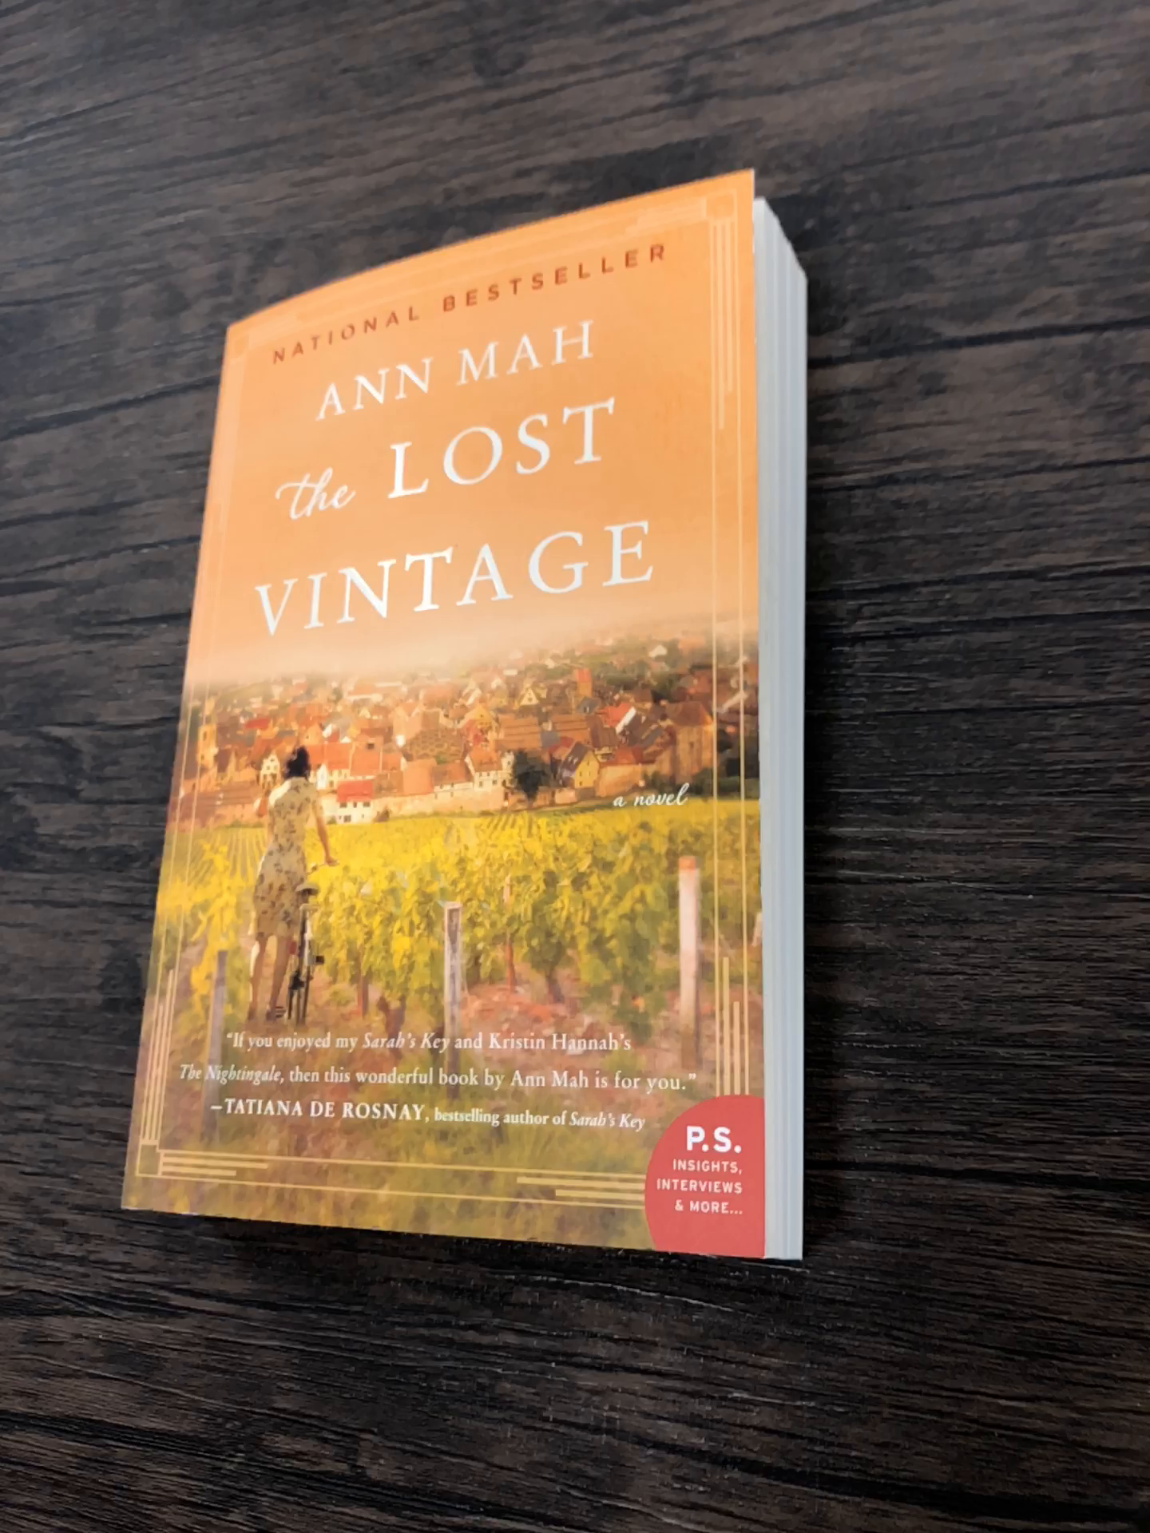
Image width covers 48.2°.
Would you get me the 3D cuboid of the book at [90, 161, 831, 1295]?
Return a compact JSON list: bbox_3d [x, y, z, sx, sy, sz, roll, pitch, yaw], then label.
[{"bbox_3d":[-0.021,-0.008,0.262,0.134,0.040,0.200,-5,74,23],"label":"book"}]
